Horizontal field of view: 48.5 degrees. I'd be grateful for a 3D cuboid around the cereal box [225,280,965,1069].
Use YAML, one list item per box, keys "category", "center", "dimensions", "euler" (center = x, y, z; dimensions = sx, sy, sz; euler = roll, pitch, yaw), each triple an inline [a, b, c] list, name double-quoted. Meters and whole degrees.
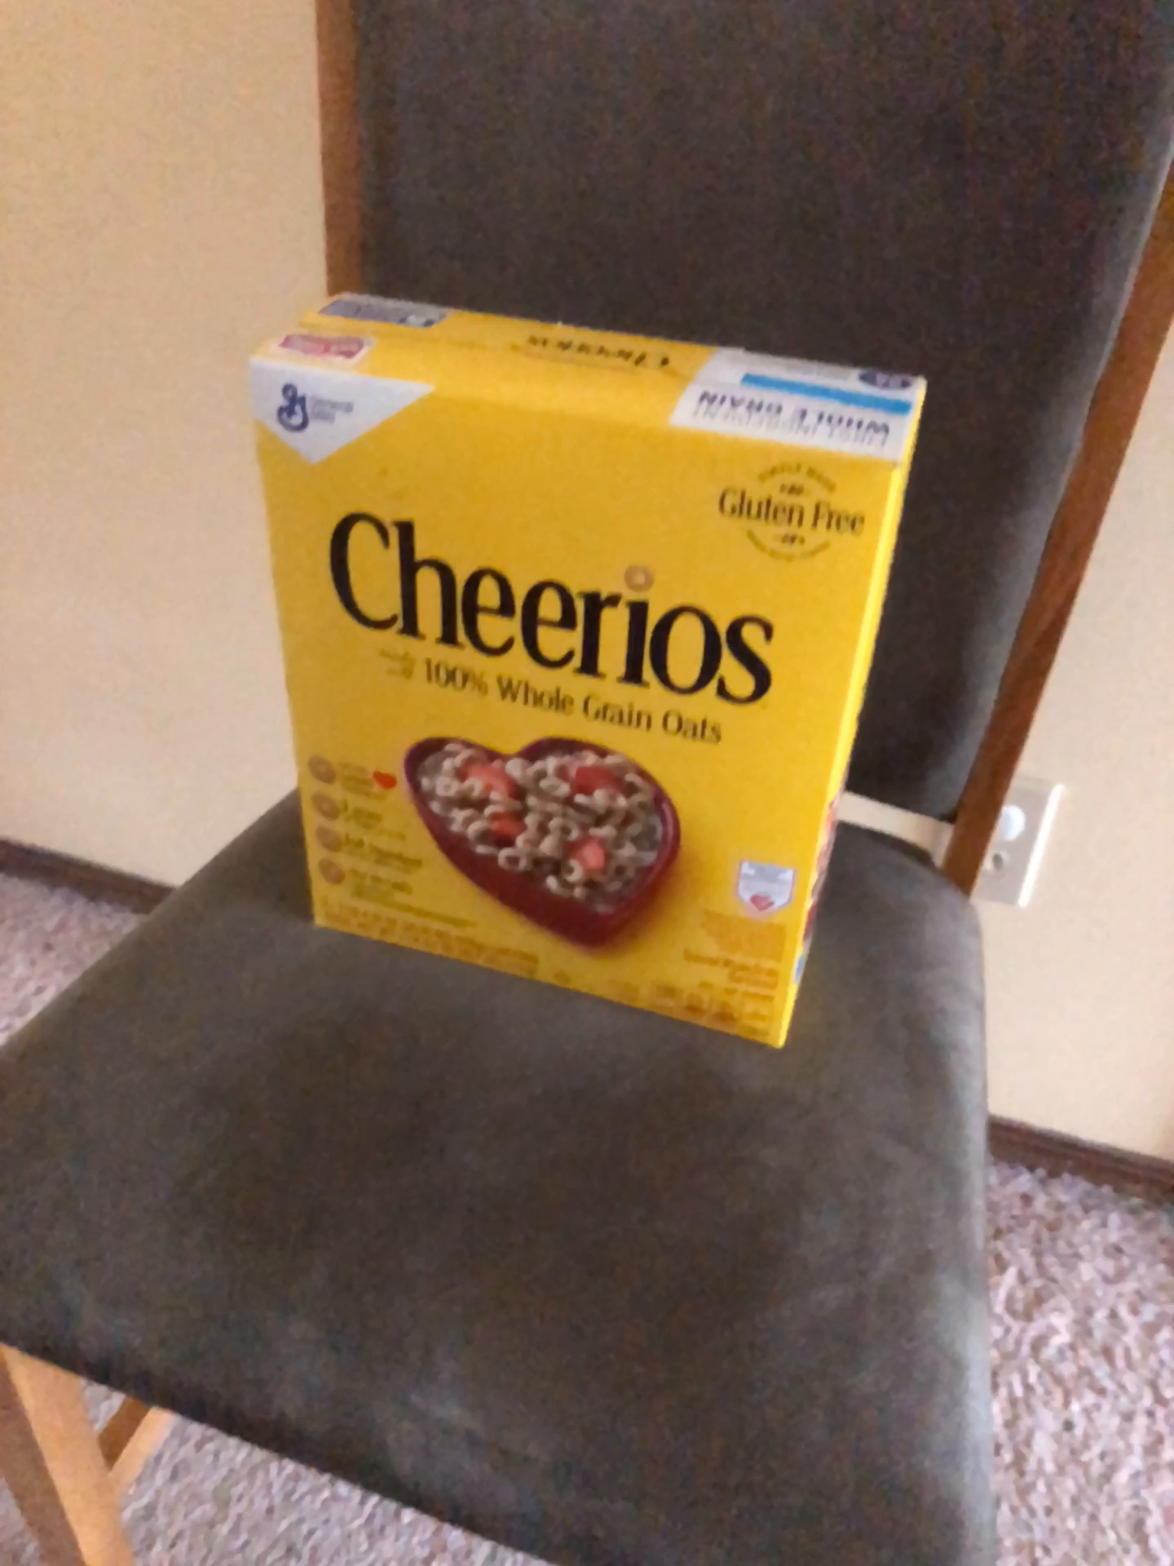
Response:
- category: "cereal box"
  center: [-0.001, -0.039, 0.577]
  dimensions: [0.260, 0.299, 0.090]
  euler: [13, 40, 13]
